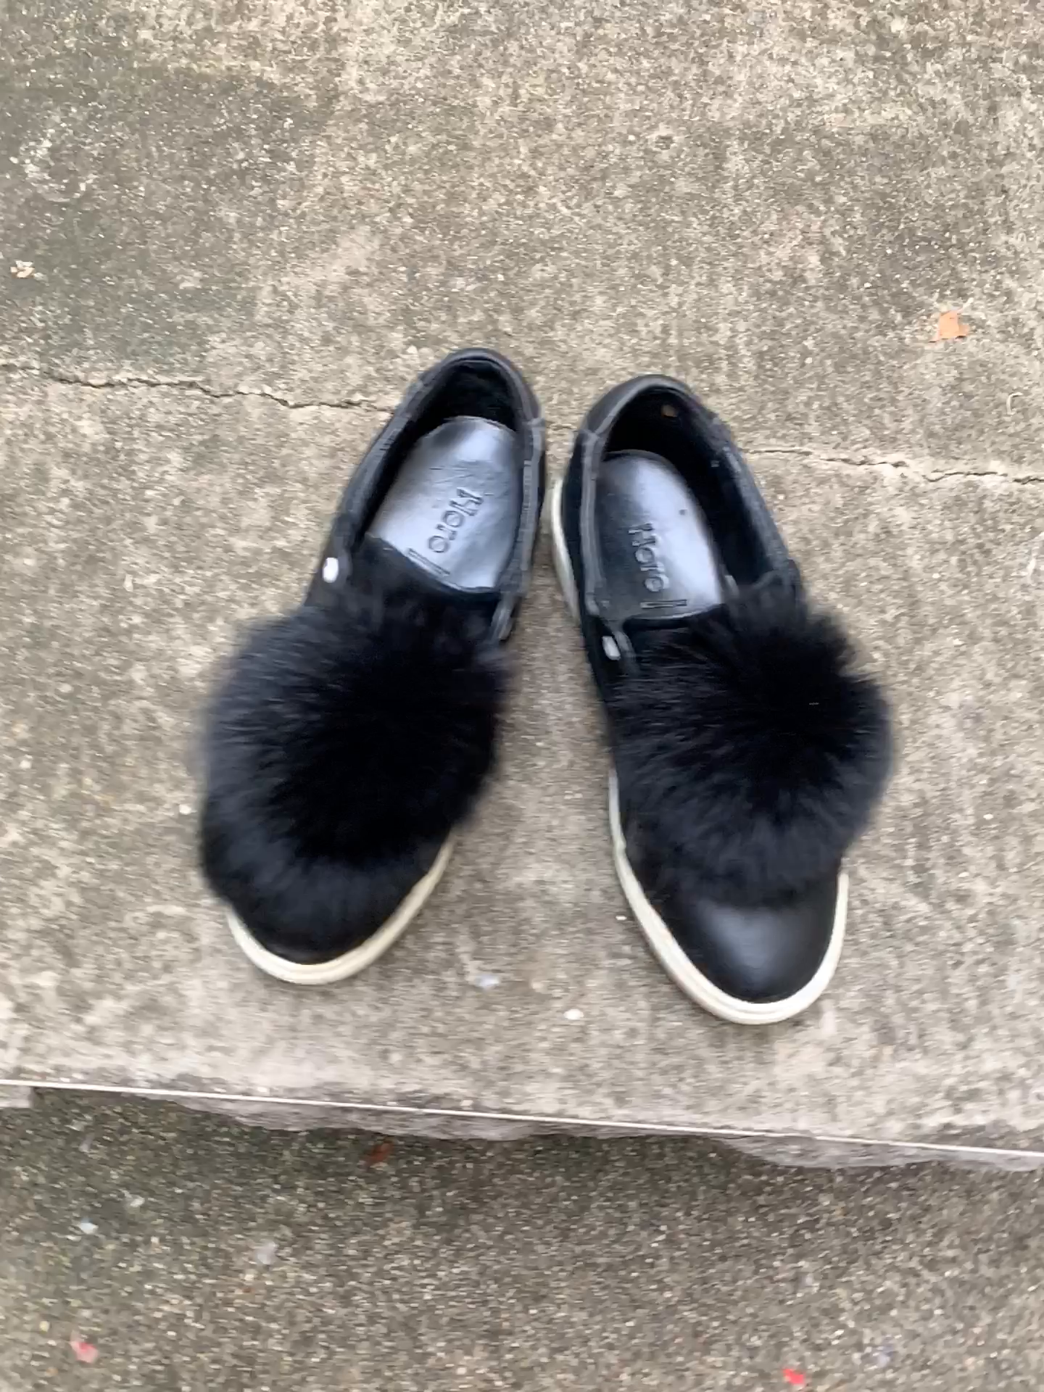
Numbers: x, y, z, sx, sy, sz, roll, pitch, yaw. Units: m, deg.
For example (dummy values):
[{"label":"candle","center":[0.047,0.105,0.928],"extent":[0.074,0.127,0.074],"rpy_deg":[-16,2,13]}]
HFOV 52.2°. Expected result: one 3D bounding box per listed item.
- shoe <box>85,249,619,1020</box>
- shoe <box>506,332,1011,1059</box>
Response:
[{"label":"shoe","center":[-0.052,-0.025,0.416],"extent":[0.095,0.098,0.269],"rpy_deg":[18,70,2]},{"label":"shoe","center":[0.072,0.000,0.404],"extent":[0.098,0.098,0.243],"rpy_deg":[-11,72,-8]}]
